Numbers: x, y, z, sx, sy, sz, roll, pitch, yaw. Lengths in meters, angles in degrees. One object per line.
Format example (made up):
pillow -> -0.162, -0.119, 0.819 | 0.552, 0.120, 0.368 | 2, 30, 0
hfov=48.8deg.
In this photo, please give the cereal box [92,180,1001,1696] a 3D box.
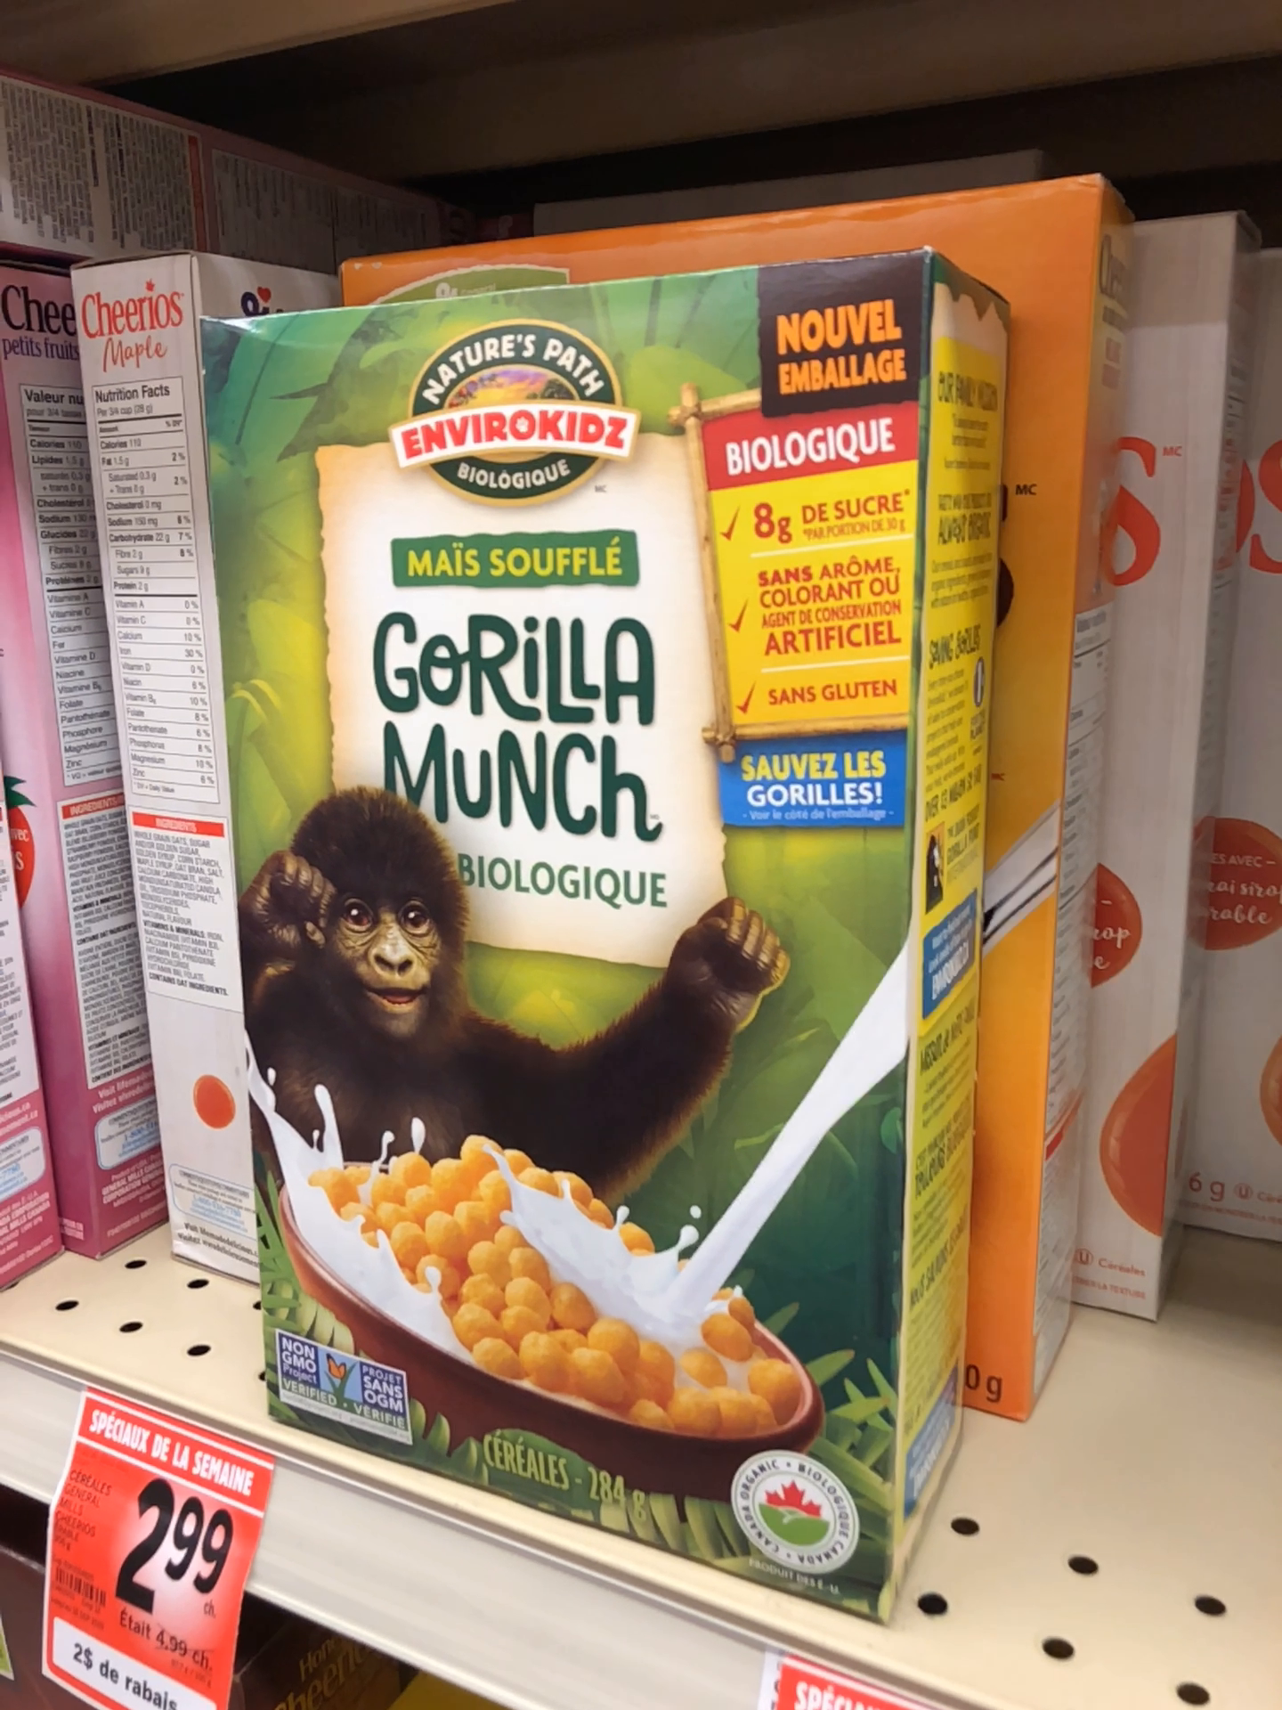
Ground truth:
cereal box -> -0.017, 0.016, 0.293 | 0.160, 0.259, 0.060 | 5, 15, 26
